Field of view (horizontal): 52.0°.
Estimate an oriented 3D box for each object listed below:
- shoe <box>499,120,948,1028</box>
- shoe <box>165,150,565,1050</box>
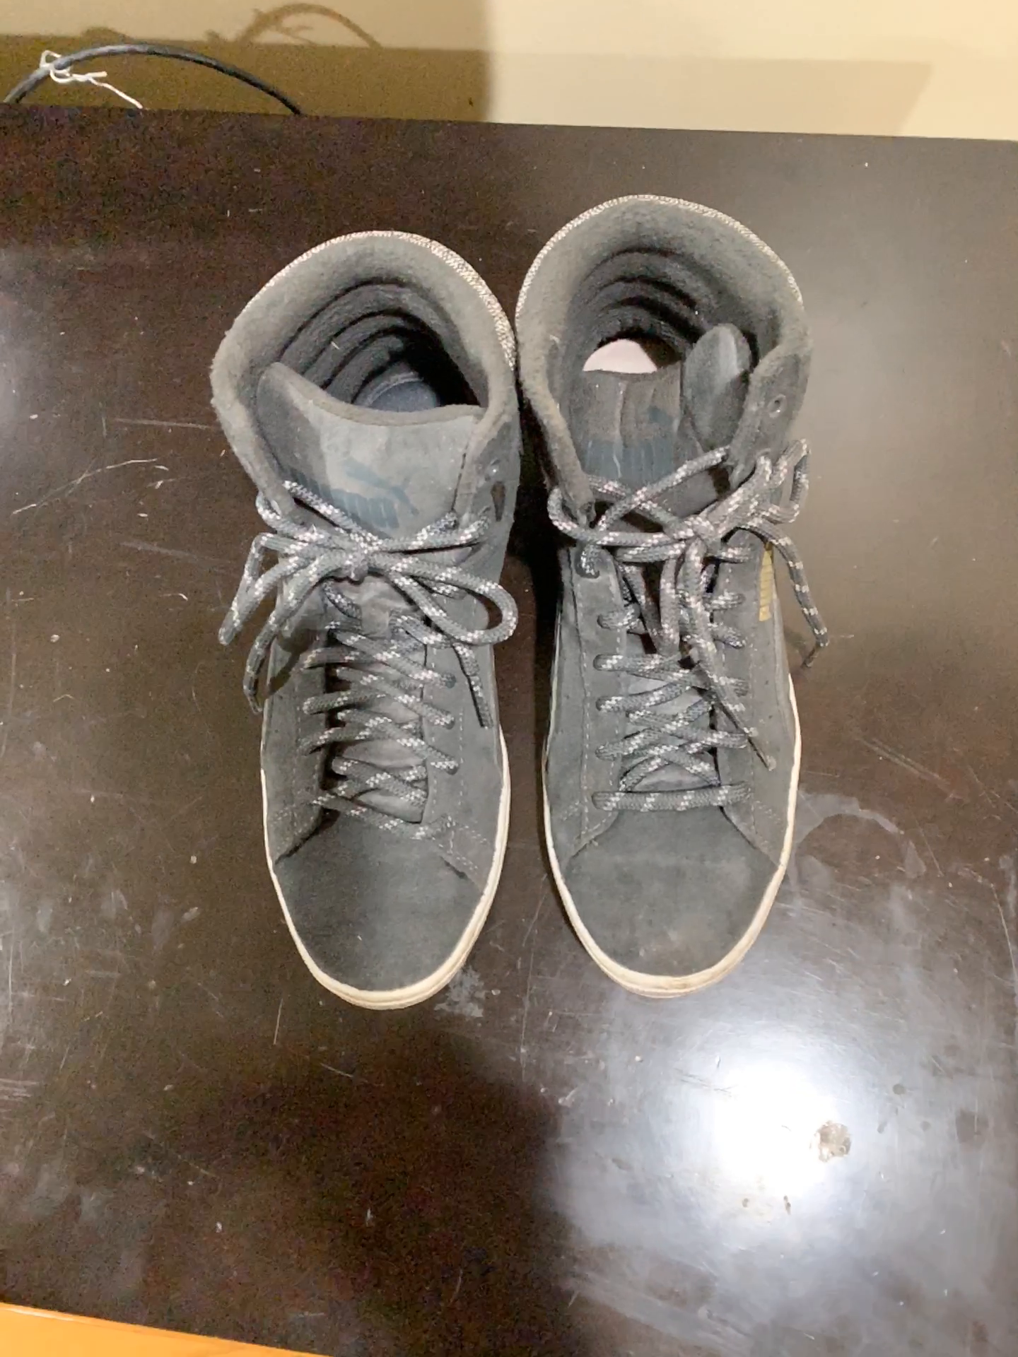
[{"bbox_3d":[0.054,-0.026,0.341,0.097,0.125,0.253,-3,76,3],"label":"shoe"},{"bbox_3d":[-0.040,-0.022,0.347,0.100,0.108,0.261,-4,76,3],"label":"shoe"}]
